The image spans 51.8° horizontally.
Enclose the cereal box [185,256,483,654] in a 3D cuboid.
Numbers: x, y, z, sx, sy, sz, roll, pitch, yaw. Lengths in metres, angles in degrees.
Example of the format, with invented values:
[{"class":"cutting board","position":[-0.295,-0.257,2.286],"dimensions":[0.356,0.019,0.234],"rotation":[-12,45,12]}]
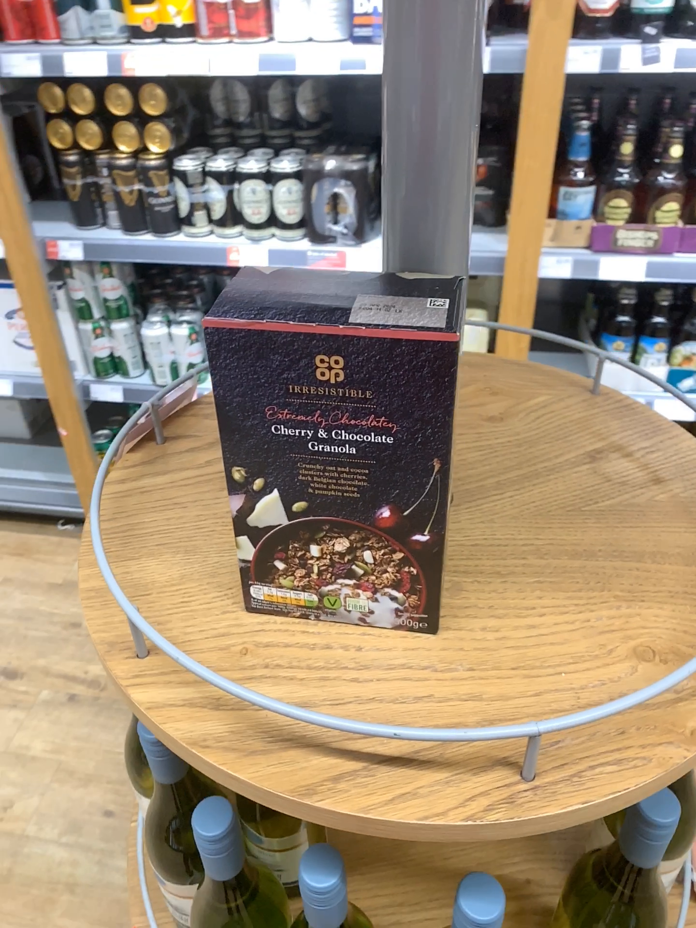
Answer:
[{"class":"cereal box","position":[0.001,-0.001,0.436],"dimensions":[0.140,0.218,0.091],"rotation":[5,36,9]}]
